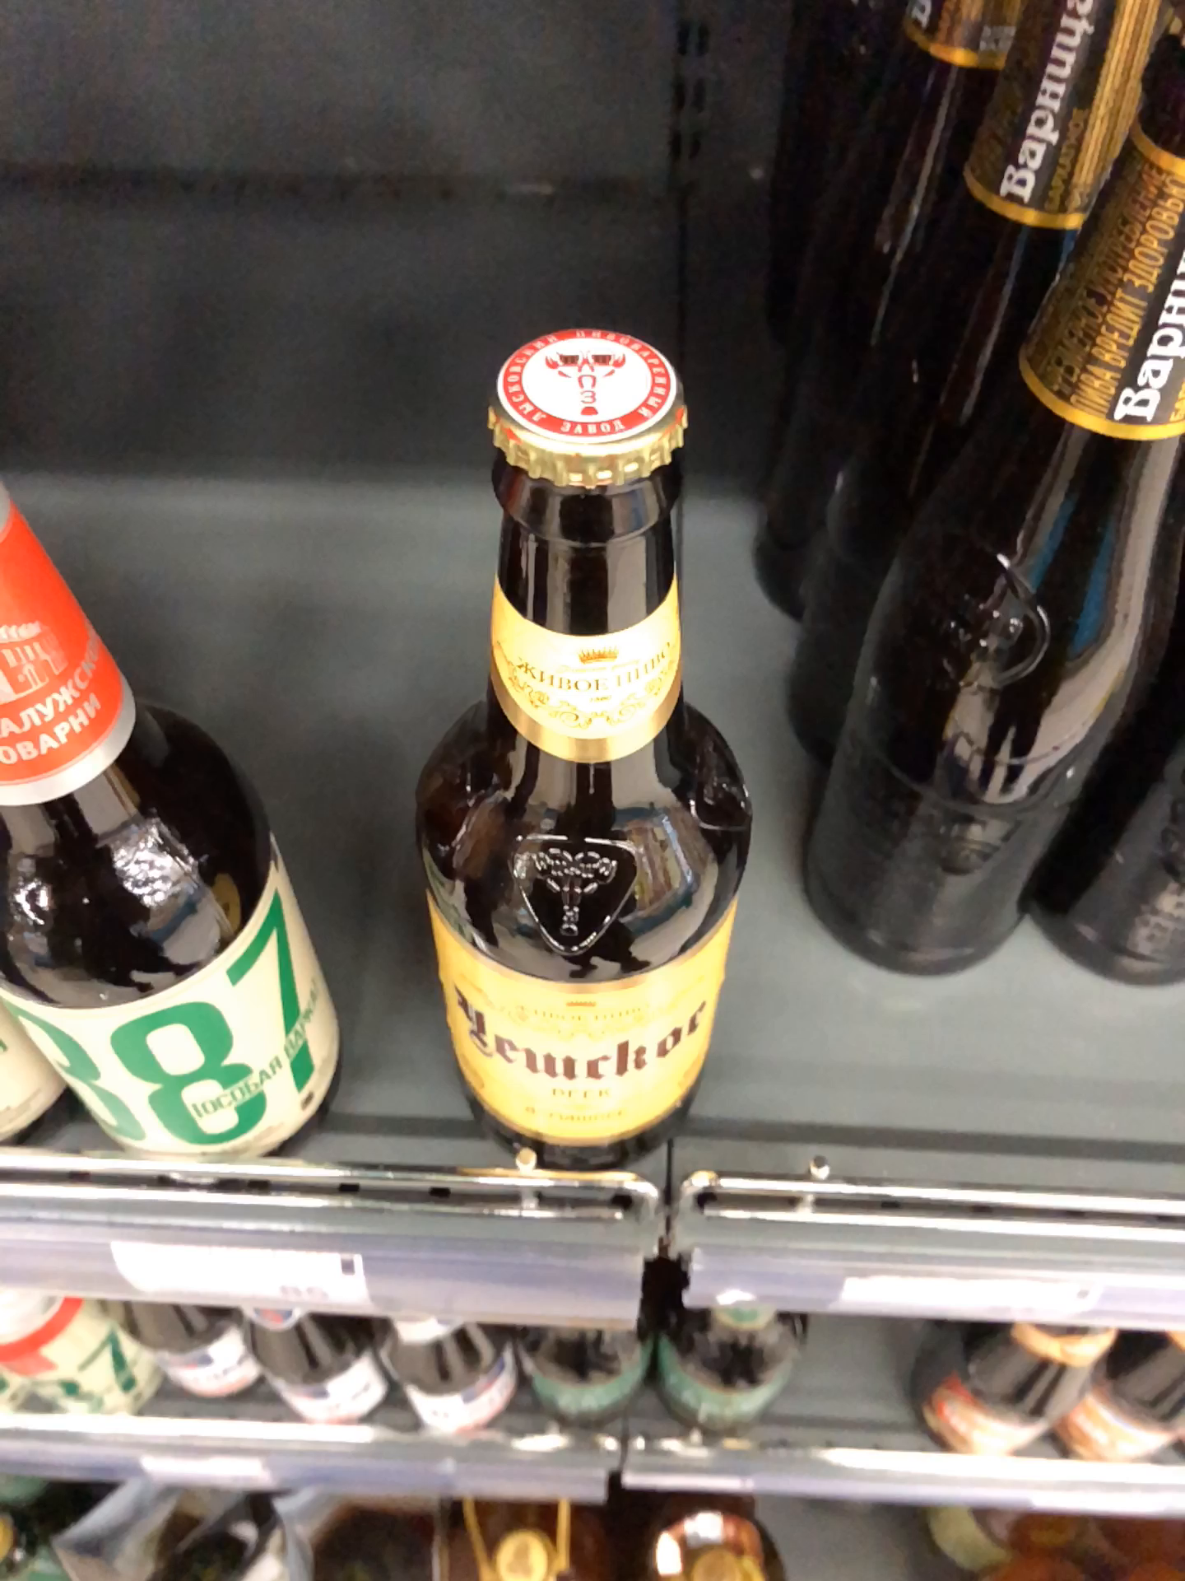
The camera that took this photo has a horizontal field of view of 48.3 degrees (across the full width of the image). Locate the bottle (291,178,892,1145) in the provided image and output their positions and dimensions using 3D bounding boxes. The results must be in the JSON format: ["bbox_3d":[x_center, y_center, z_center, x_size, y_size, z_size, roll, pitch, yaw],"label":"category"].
[{"bbox_3d":[-0.001,-0.001,0.297,0.080,0.239,0.080,0,55,0],"label":"bottle"}]
